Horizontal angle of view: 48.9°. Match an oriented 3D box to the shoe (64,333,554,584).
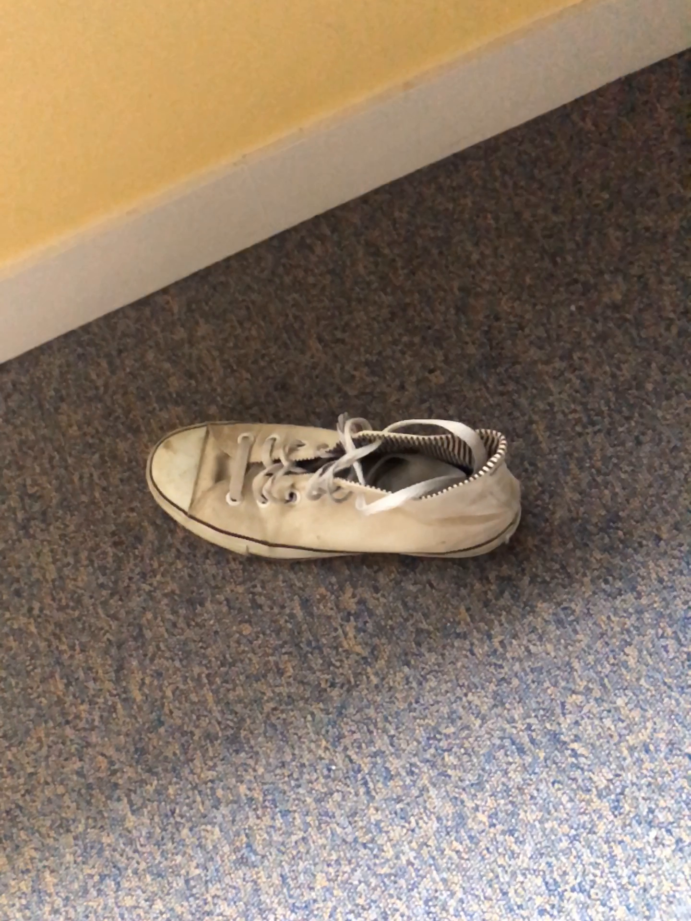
[{"bbox_3d":[-0.012,0.004,0.464,0.250,0.140,0.100,4,74,9],"label":"shoe"}]
